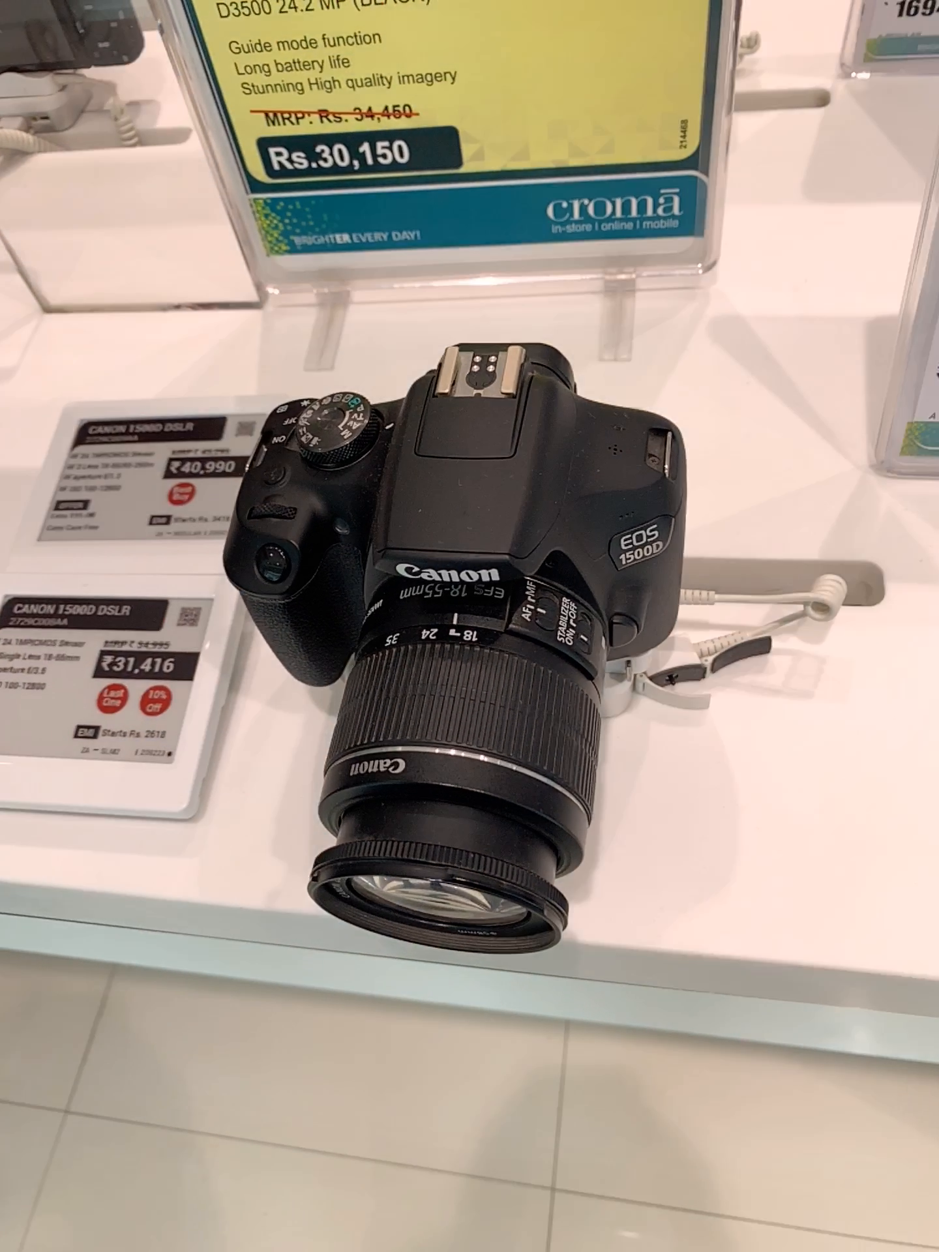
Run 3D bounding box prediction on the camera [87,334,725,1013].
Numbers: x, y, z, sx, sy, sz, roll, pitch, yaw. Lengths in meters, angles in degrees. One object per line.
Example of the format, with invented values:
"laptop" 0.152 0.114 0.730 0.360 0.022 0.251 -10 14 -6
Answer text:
"camera" 0.001 0.008 0.236 0.110 0.090 0.130 3 57 11
